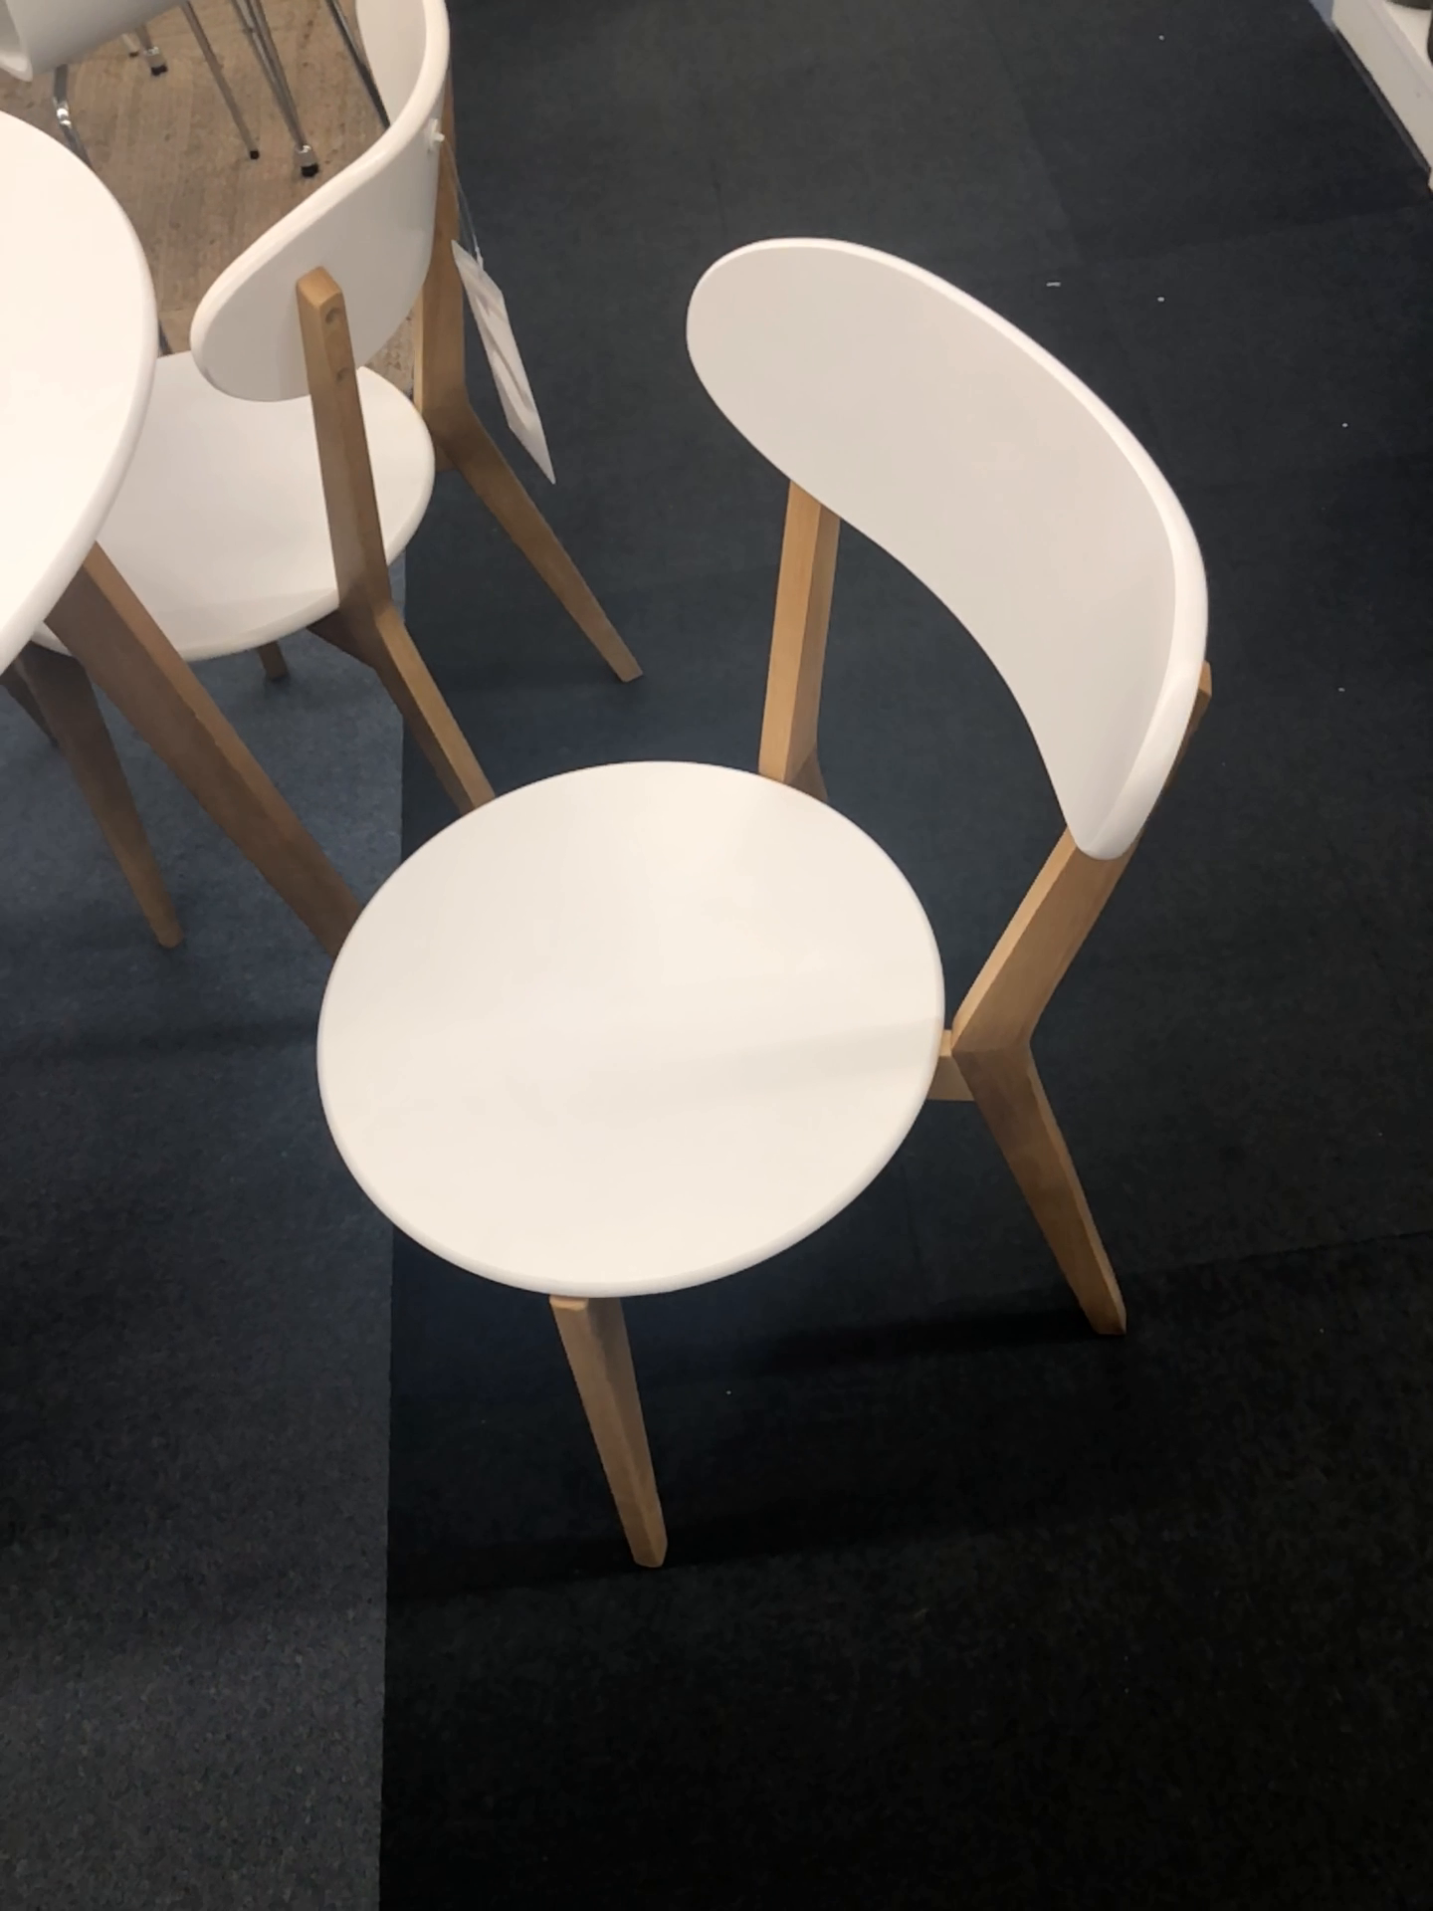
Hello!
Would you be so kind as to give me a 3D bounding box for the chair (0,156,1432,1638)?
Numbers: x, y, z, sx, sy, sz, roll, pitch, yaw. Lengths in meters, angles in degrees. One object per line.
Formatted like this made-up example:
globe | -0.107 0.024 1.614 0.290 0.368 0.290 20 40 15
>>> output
chair | 0.008 -0.002 0.972 0.560 0.598 0.481 -25 56 -8
